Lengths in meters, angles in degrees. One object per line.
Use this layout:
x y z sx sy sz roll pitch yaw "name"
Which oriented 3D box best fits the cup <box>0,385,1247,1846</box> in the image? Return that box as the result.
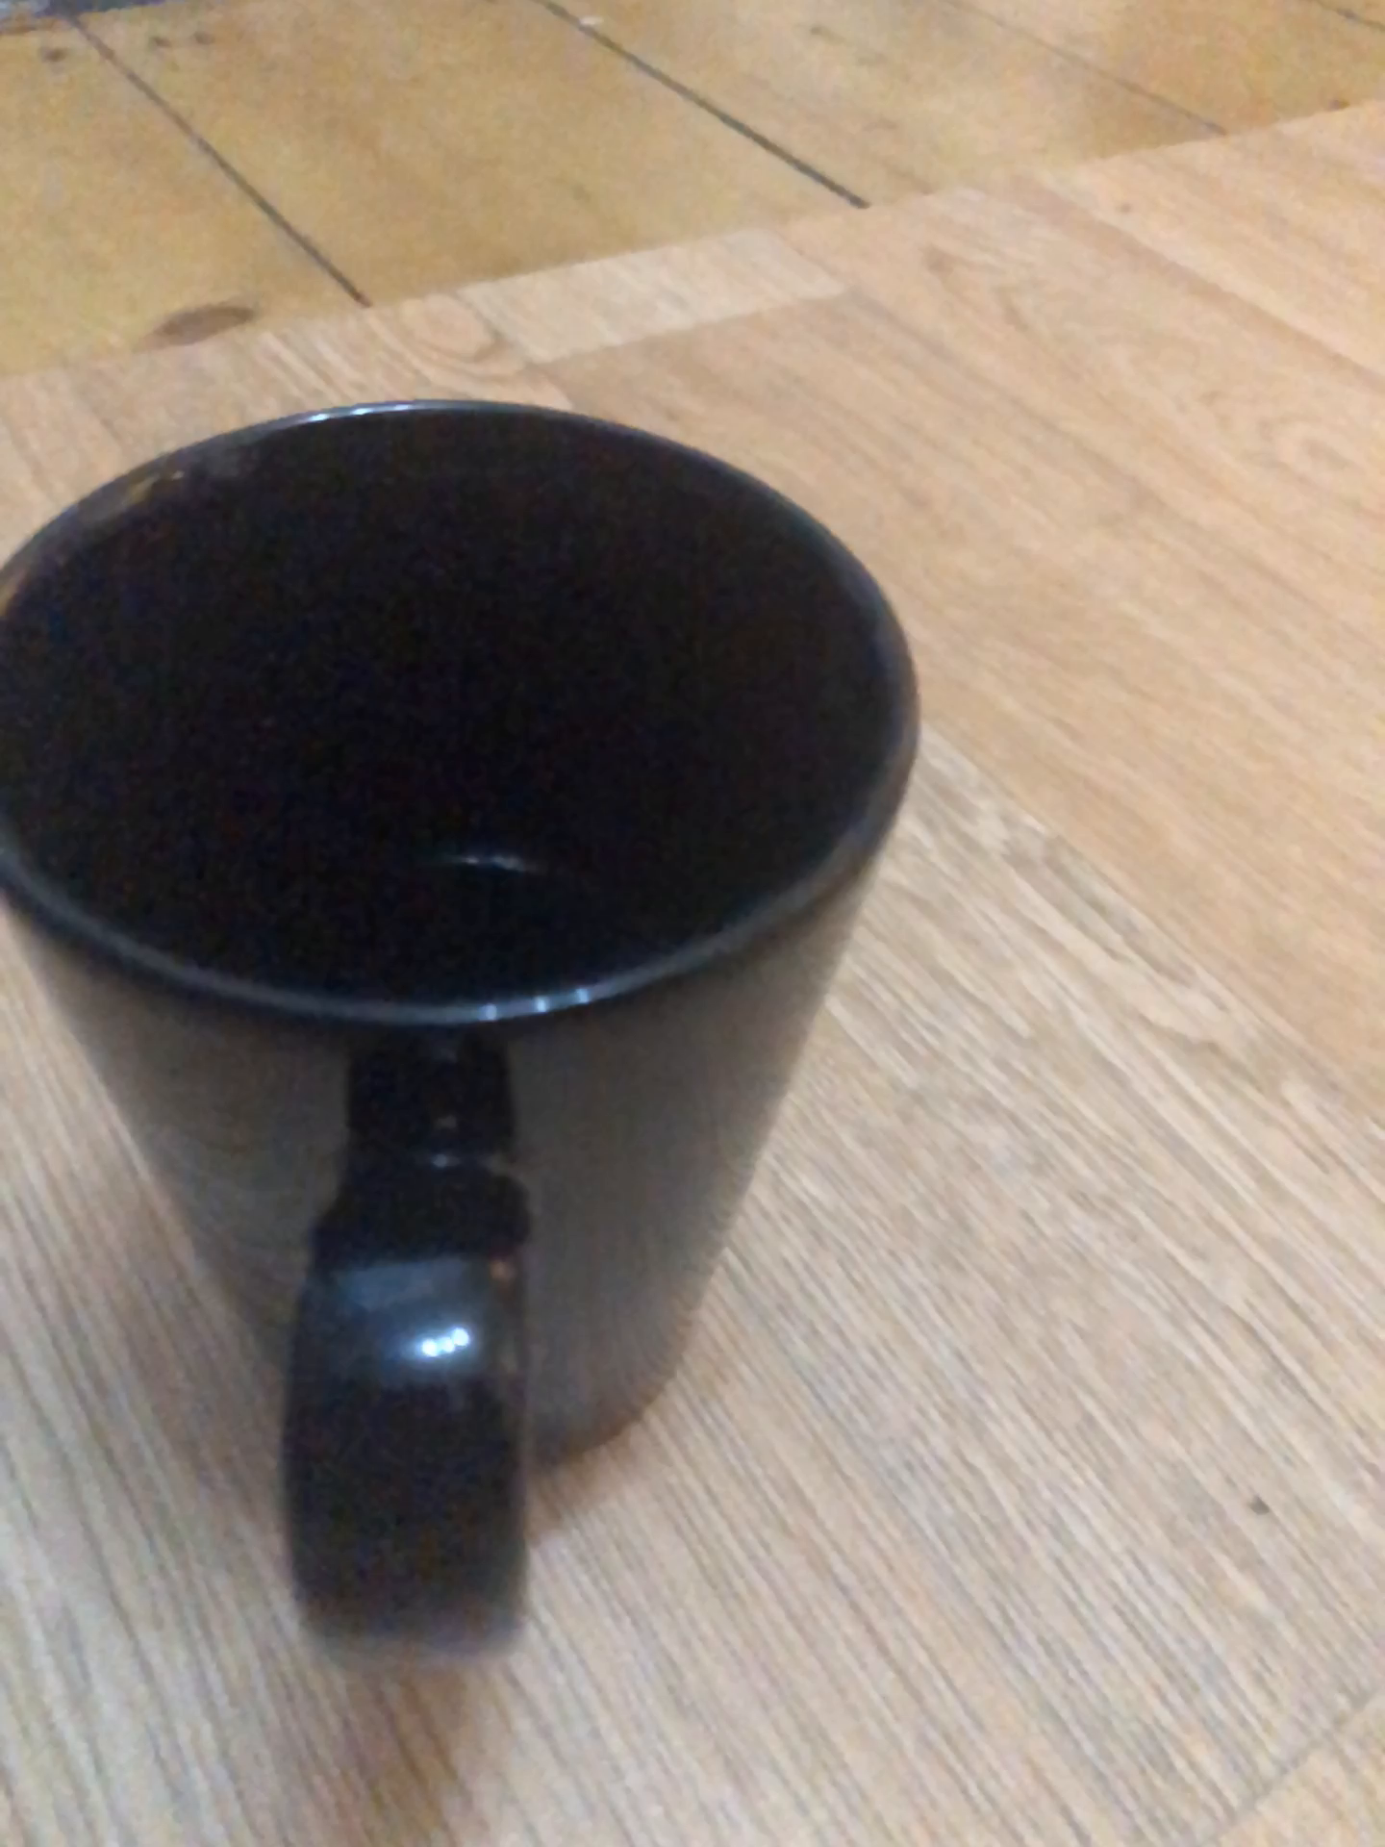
-0.019 0.019 0.156 0.090 0.089 0.121 1 47 -5 "cup"
